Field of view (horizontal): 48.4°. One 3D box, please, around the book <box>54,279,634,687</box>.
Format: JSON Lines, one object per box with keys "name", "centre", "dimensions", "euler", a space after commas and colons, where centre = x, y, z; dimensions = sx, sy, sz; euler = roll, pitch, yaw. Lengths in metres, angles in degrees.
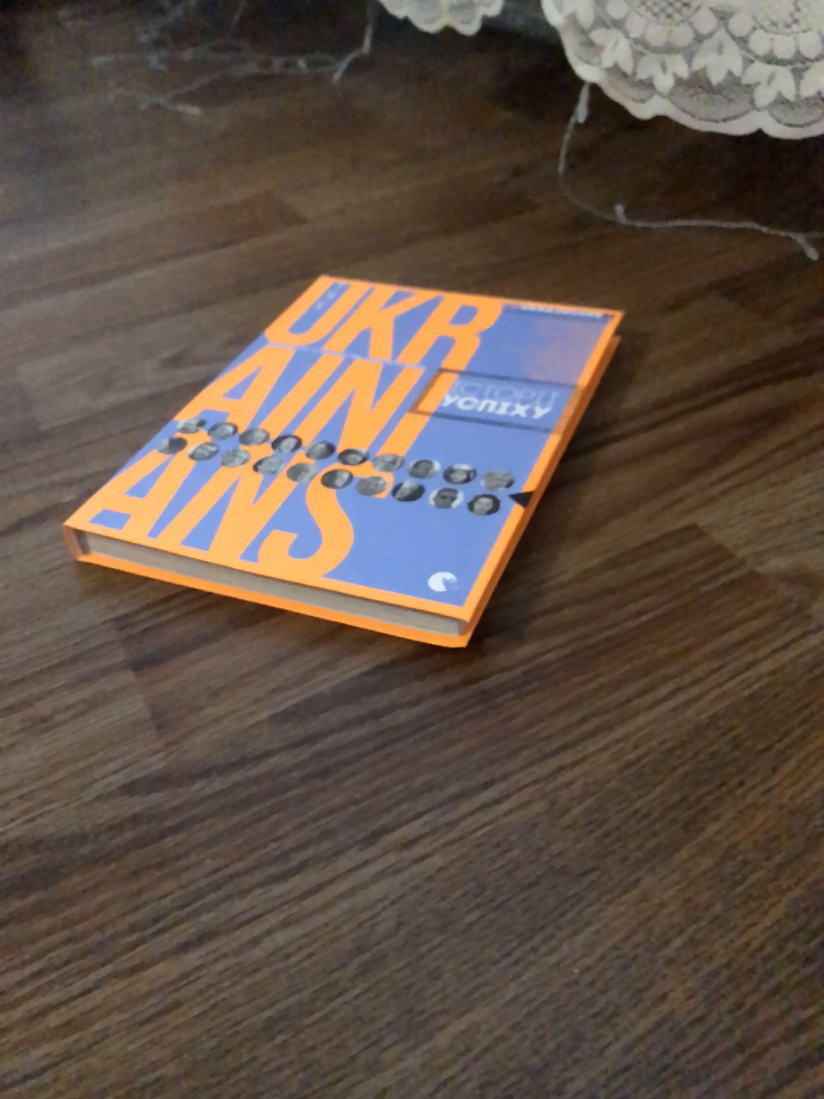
{"name": "book", "centre": [-0.012, -0.049, 0.386], "dimensions": [0.164, 0.020, 0.217], "euler": [13, 44, 18]}
